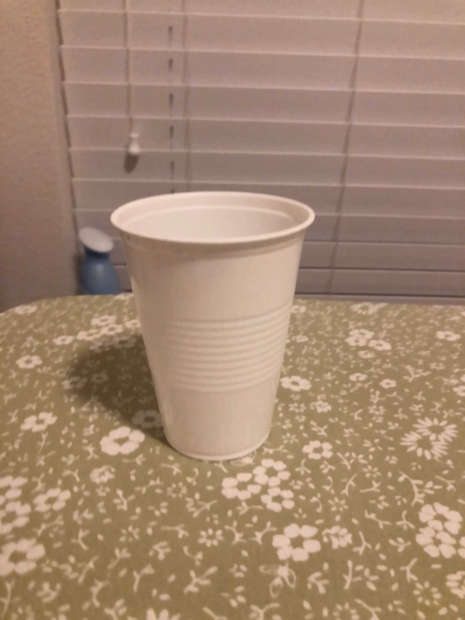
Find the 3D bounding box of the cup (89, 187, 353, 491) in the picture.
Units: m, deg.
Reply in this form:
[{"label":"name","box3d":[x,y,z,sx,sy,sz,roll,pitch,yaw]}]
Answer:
[{"label":"cup","box3d":[-0.009,0.003,0.215,0.079,0.090,0.078,-1,22,0]}]
